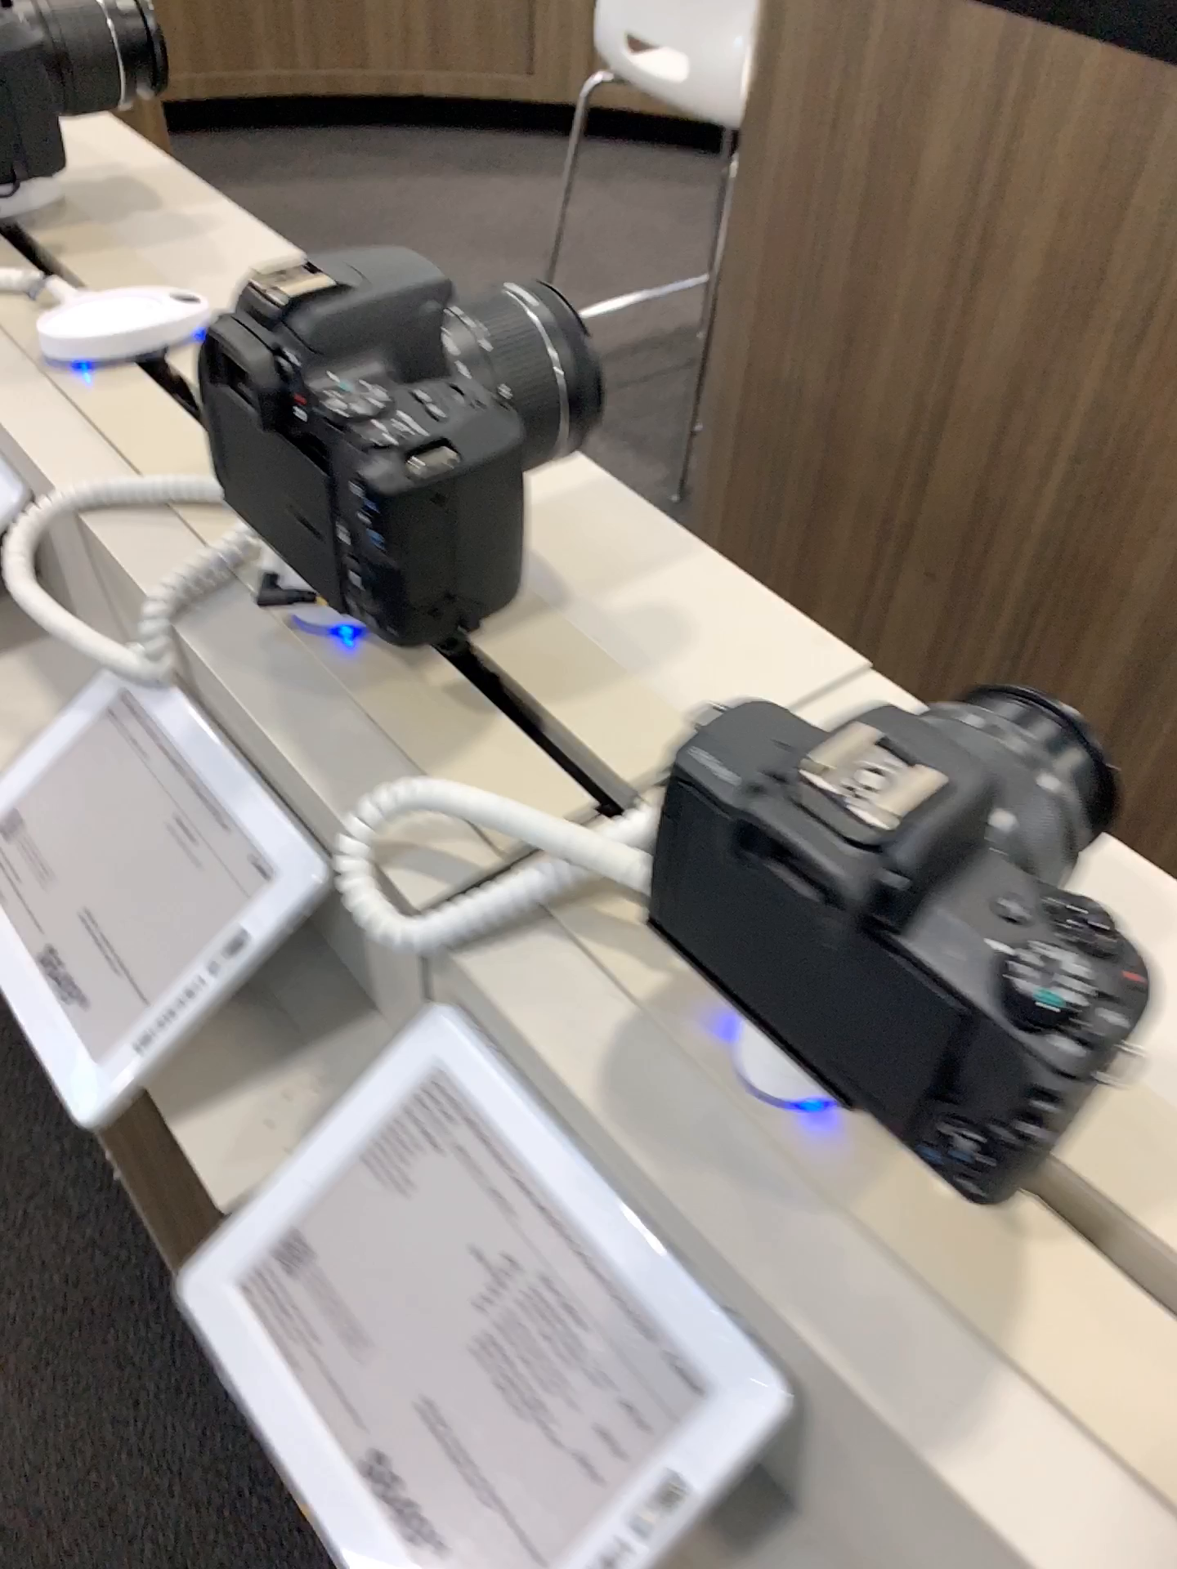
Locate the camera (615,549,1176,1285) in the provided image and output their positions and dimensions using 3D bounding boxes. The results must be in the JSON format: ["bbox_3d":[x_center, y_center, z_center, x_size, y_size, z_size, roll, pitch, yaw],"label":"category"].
[{"bbox_3d":[0.087,0.025,0.296,0.111,0.088,0.112,-32,55,-29],"label":"camera"}]

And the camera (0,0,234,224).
[{"bbox_3d":[-0.302,-0.401,0.674,0.145,0.101,0.134,-27,53,-26],"label":"camera"}]

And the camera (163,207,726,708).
[{"bbox_3d":[-0.048,-0.121,0.425,0.135,0.089,0.122,-32,55,-29],"label":"camera"}]
